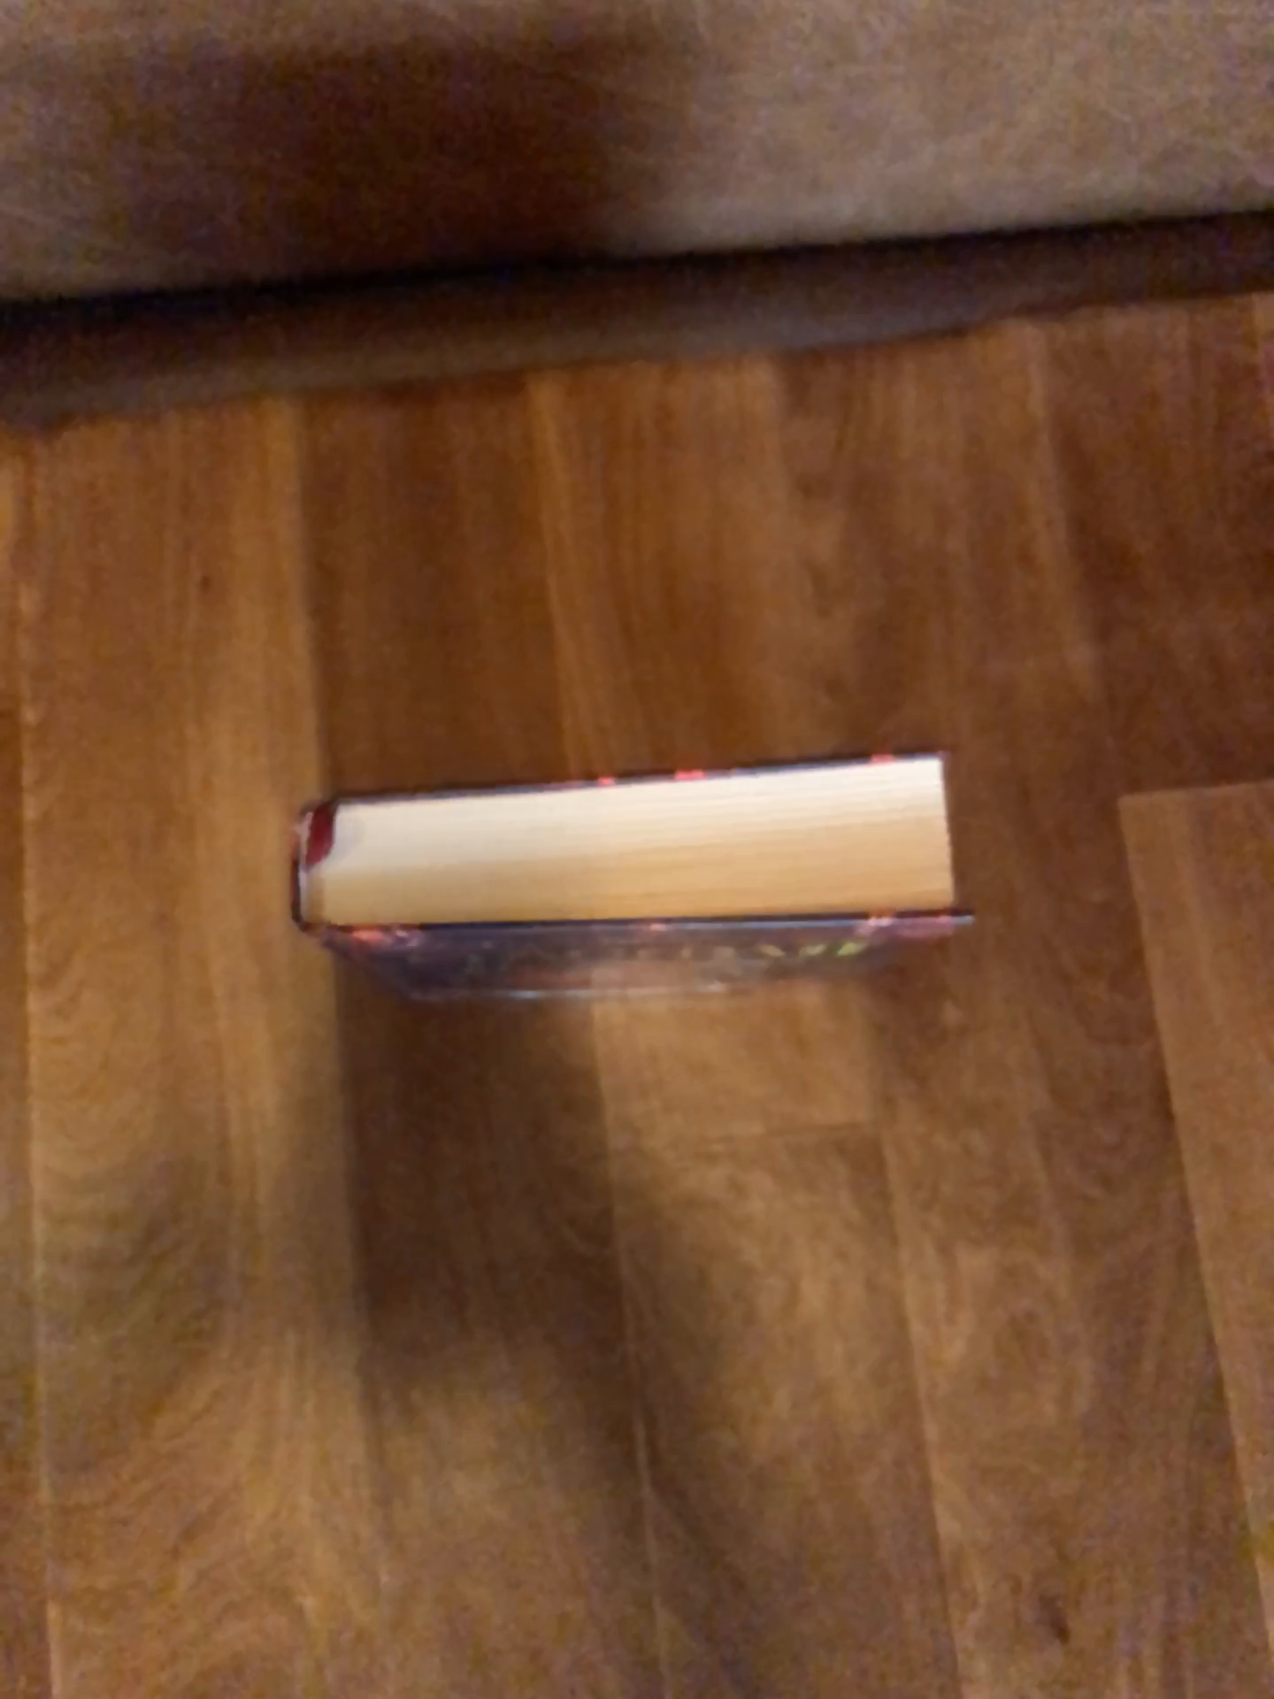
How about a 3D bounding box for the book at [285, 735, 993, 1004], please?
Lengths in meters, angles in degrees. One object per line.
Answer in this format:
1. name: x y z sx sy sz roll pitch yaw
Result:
1. book: -0.005 0.016 0.455 0.170 0.221 0.040 -2 79 -3
